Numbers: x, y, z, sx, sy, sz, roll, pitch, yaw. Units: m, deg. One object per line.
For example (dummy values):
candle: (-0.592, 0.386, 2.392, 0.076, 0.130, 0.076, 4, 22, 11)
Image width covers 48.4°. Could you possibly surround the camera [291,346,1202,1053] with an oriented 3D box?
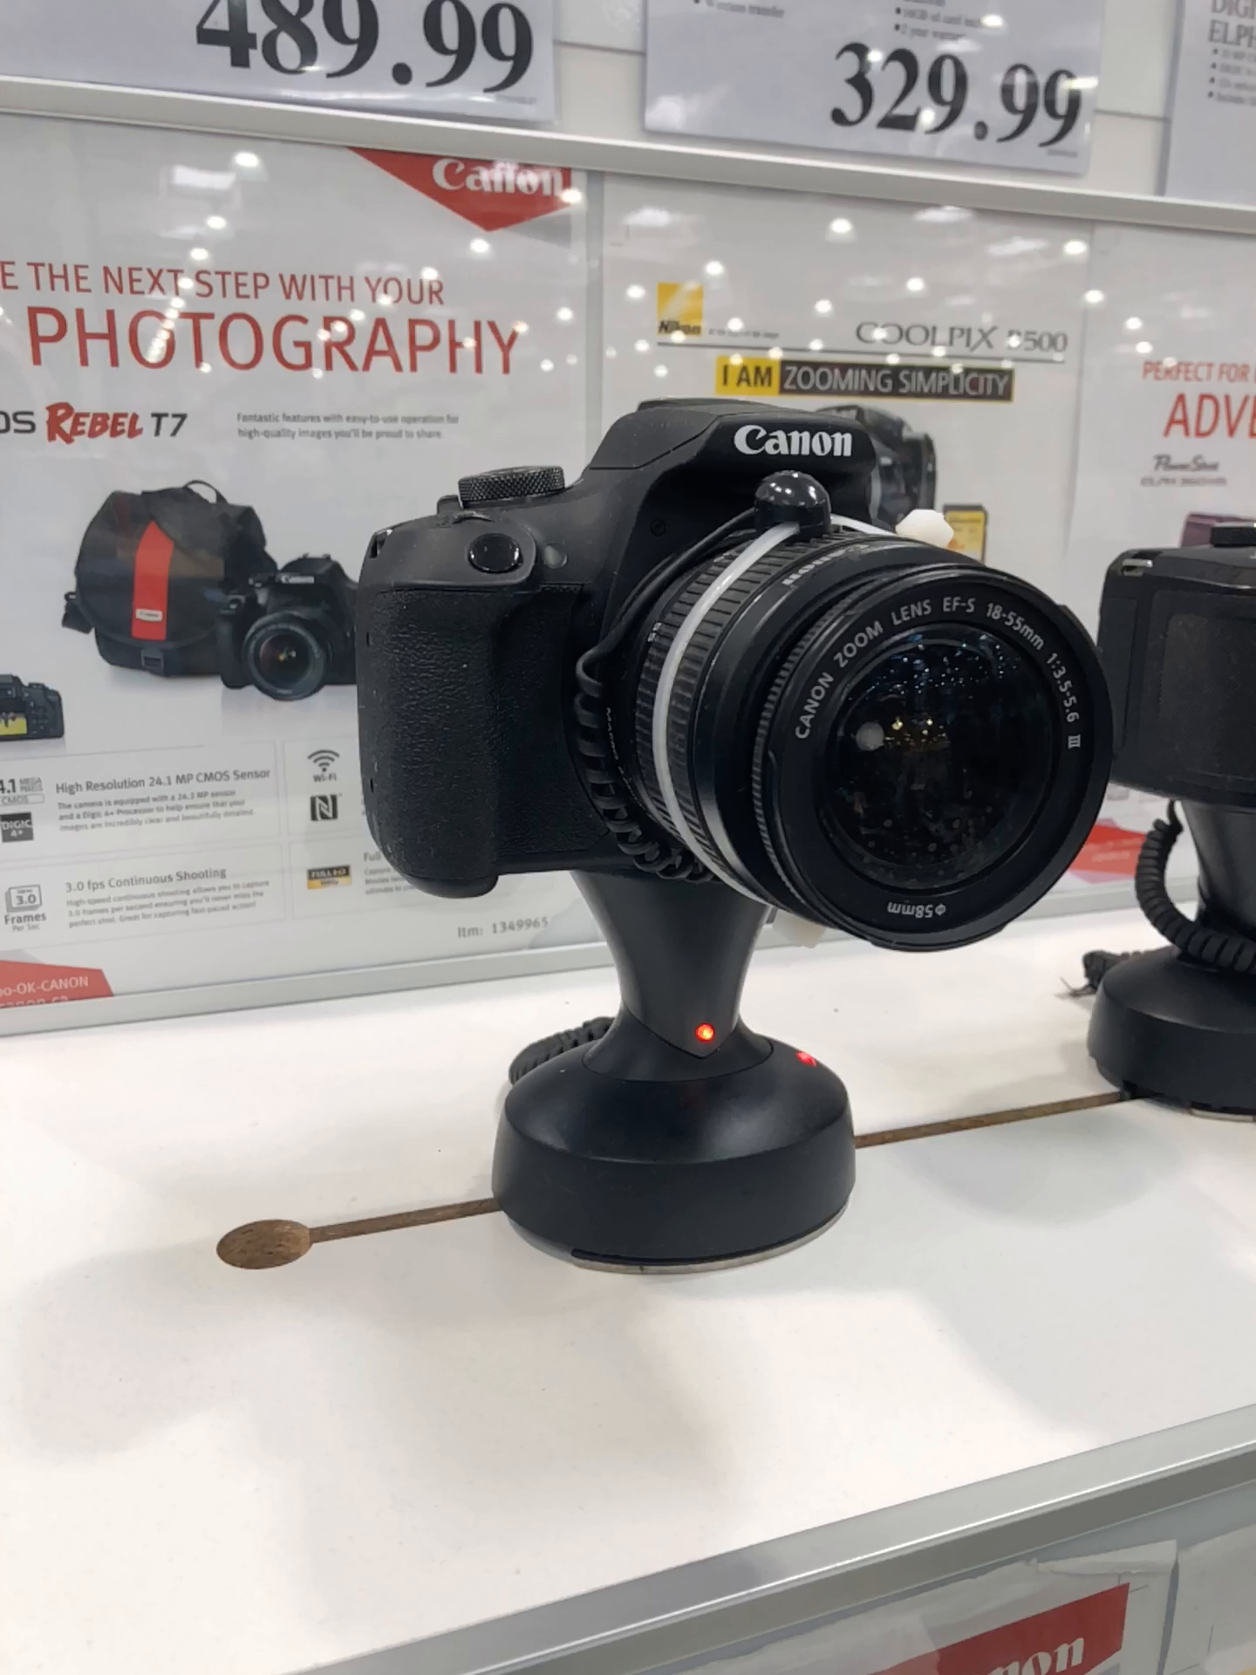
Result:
camera: (0.013, -0.036, 0.275, 0.130, 0.100, 0.120, -6, 15, -23)
